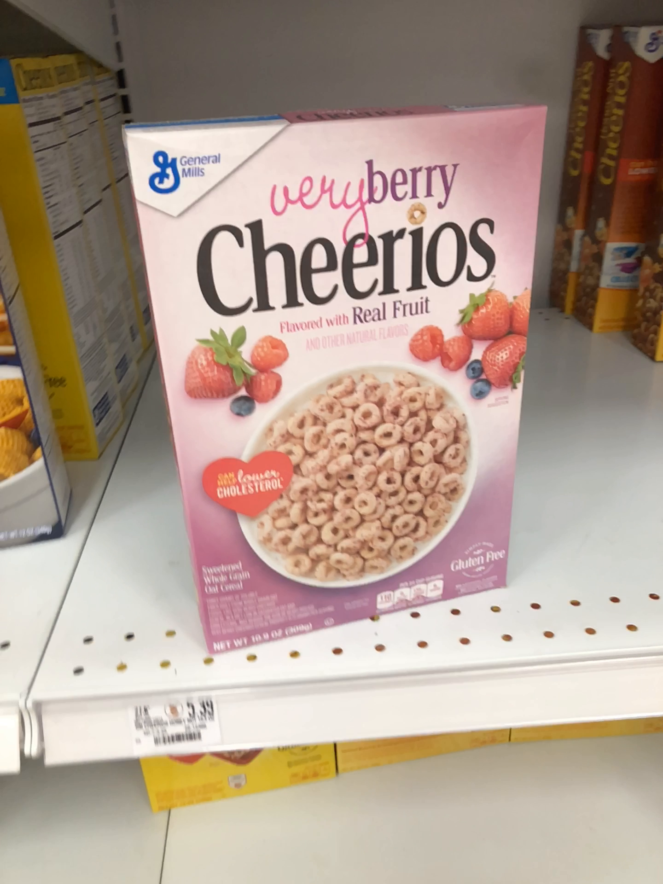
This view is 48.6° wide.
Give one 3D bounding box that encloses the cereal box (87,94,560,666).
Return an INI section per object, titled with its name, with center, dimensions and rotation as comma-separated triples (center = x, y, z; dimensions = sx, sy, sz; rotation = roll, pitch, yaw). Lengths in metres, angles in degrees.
[cereal box]
center = 0.000, -0.025, 0.394
dimensions = 0.200, 0.279, 0.060
rotation = -9, 31, -12
